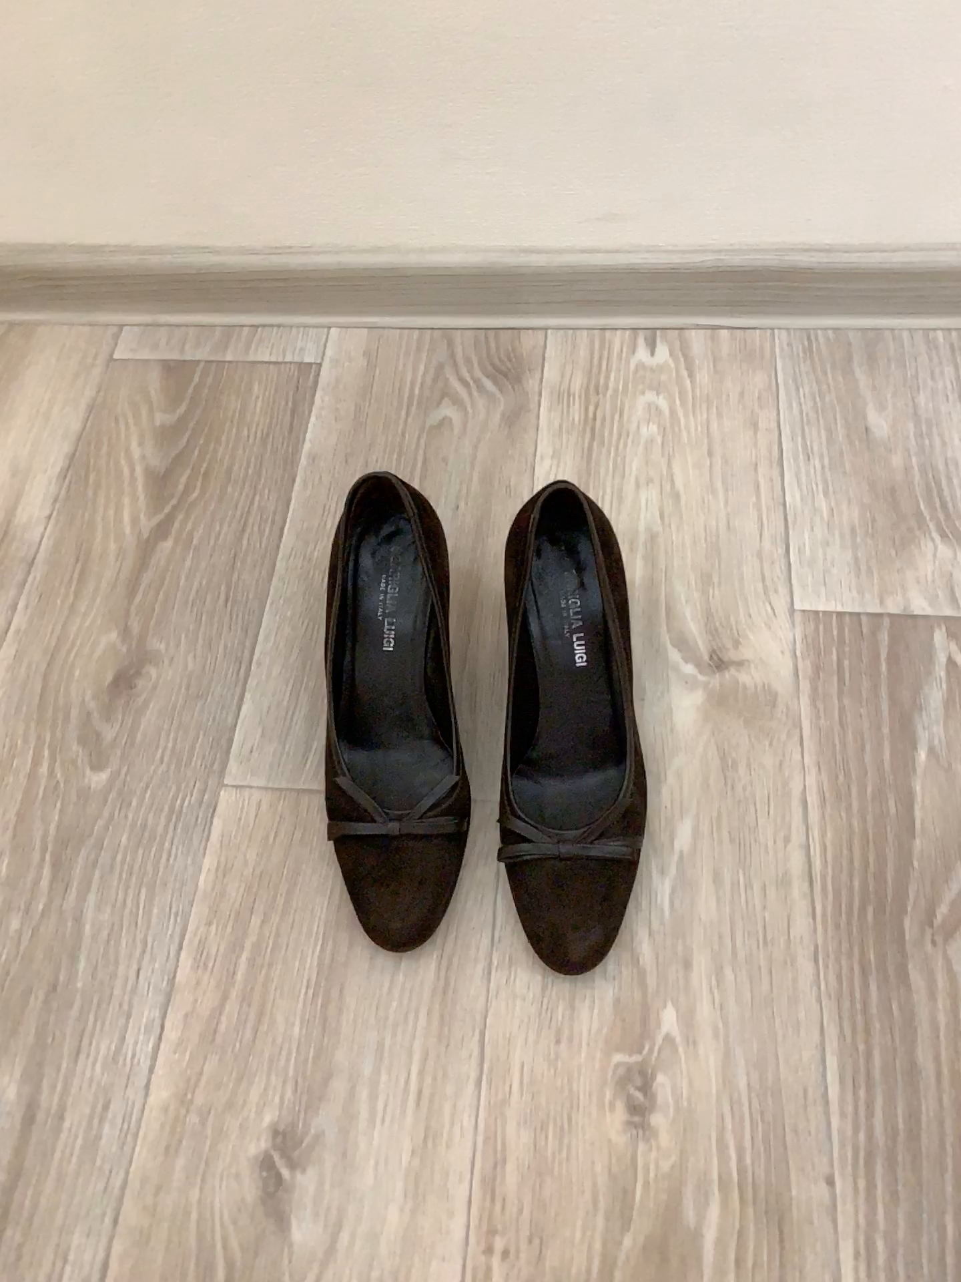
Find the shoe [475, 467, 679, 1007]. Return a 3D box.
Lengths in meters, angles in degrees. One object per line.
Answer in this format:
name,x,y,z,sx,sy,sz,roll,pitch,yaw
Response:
shoe,0.043,0.047,0.524,0.080,0.110,0.261,-3,60,3

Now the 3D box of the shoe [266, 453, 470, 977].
shoe,-0.051,0.037,0.538,0.080,0.110,0.261,-3,60,3
